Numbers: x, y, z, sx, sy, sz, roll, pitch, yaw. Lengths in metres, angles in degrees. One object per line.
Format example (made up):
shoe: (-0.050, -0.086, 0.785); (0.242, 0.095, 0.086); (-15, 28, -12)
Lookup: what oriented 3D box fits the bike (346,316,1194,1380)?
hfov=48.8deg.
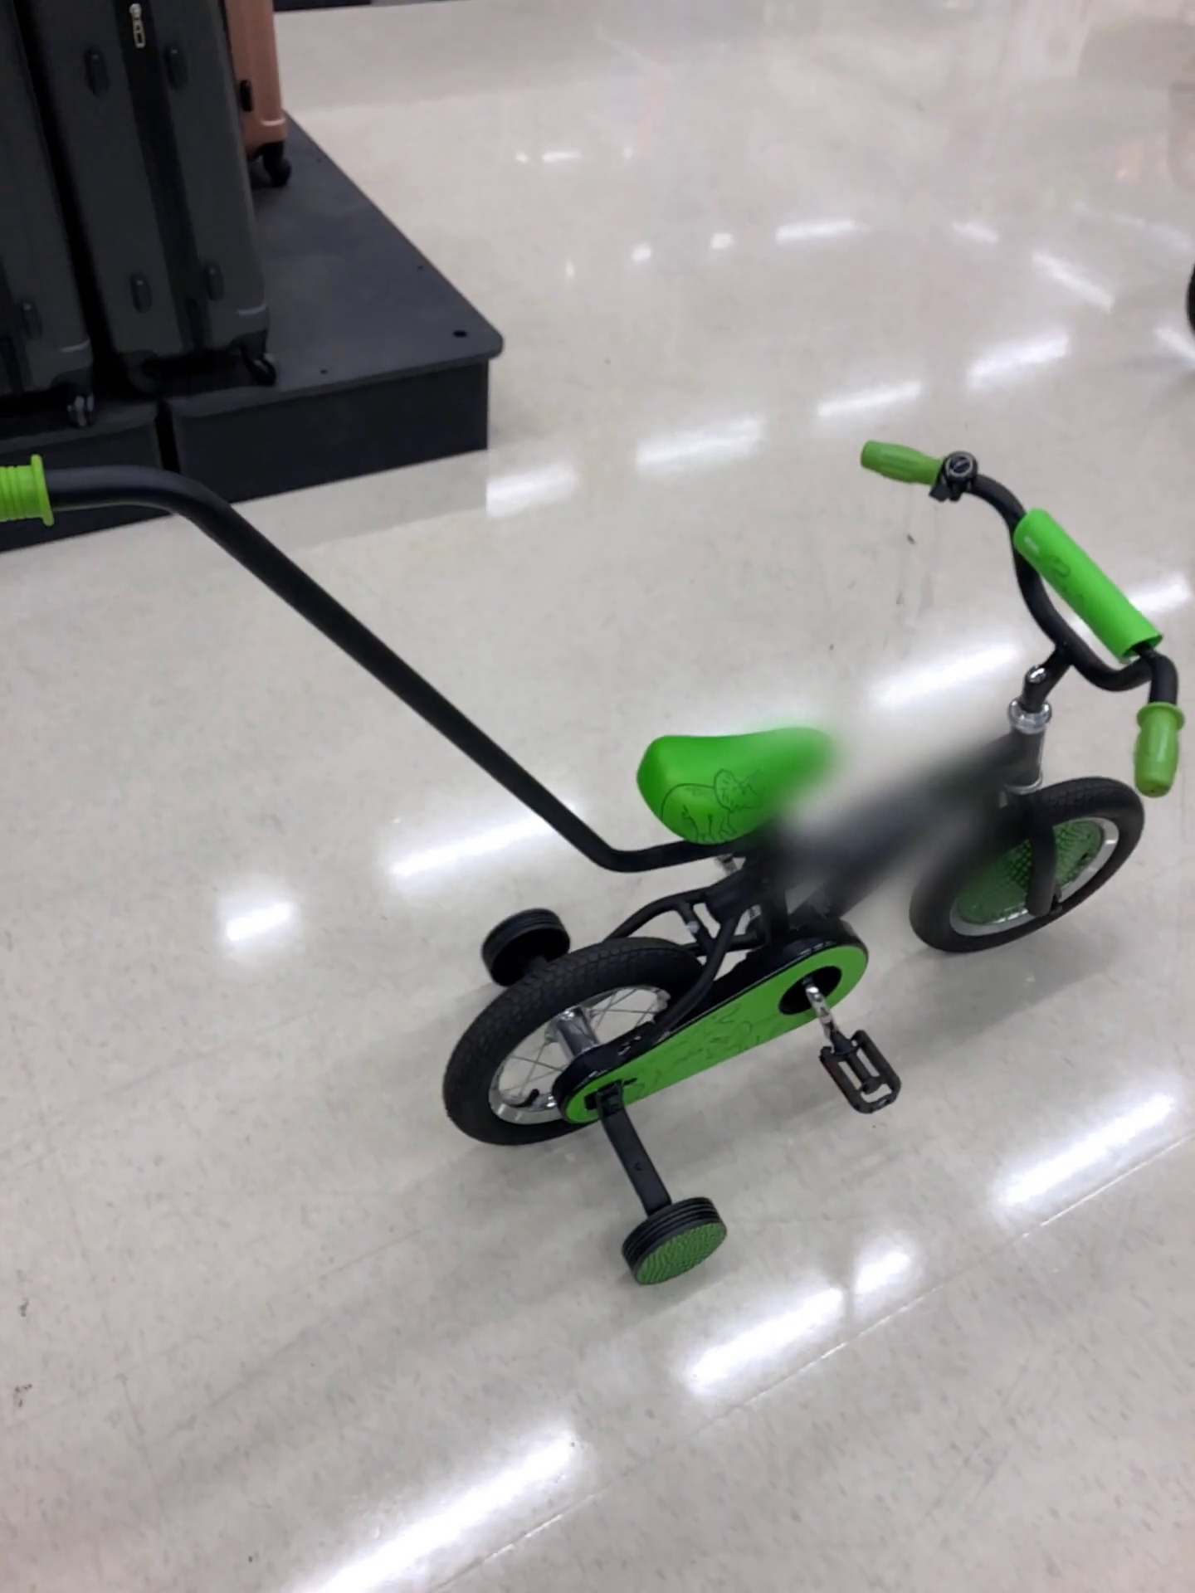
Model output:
bike: (0.254, 0.027, 1.284); (0.846, 0.600, 0.493); (-19, 50, -18)
